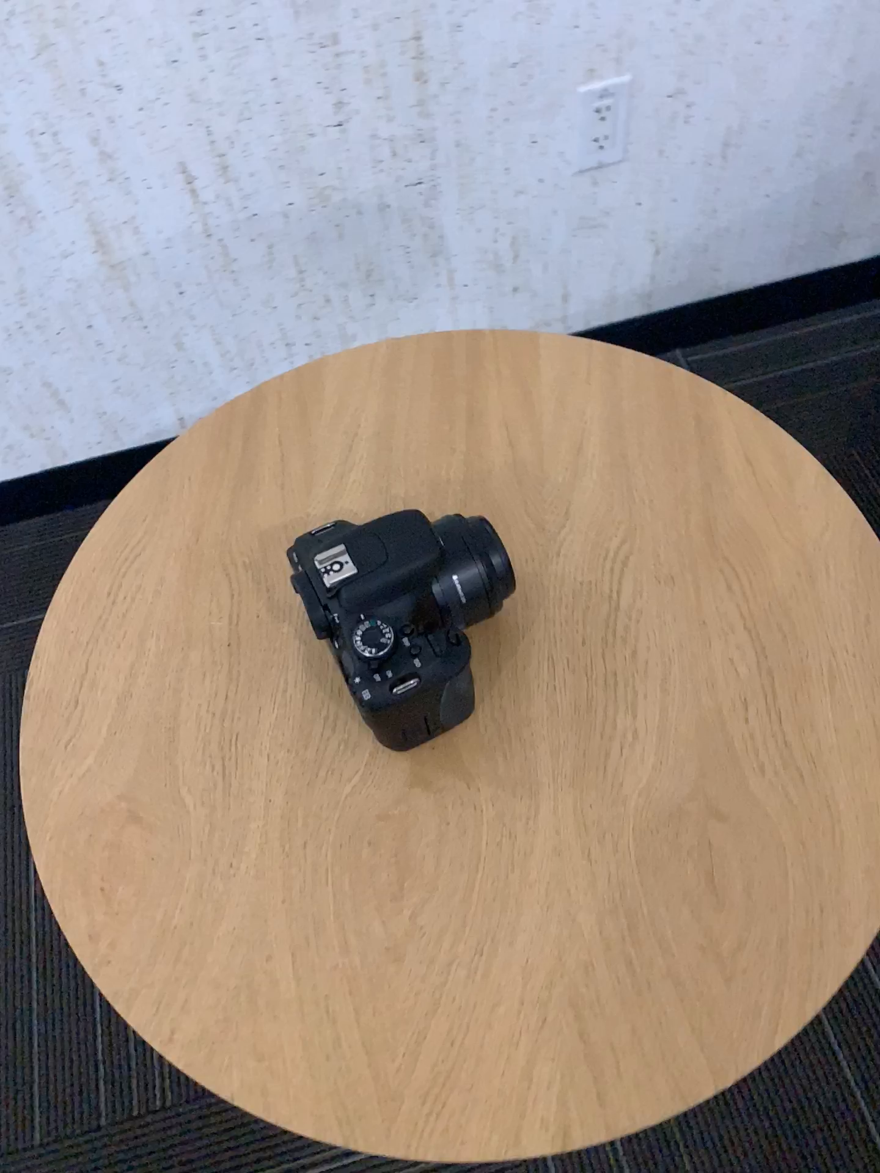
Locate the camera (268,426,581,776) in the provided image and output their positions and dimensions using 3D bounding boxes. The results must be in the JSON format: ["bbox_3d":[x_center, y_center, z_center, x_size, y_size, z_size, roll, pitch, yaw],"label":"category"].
[{"bbox_3d":[-0.008,0.008,0.511,0.120,0.100,0.130,-24,59,-9],"label":"camera"}]
